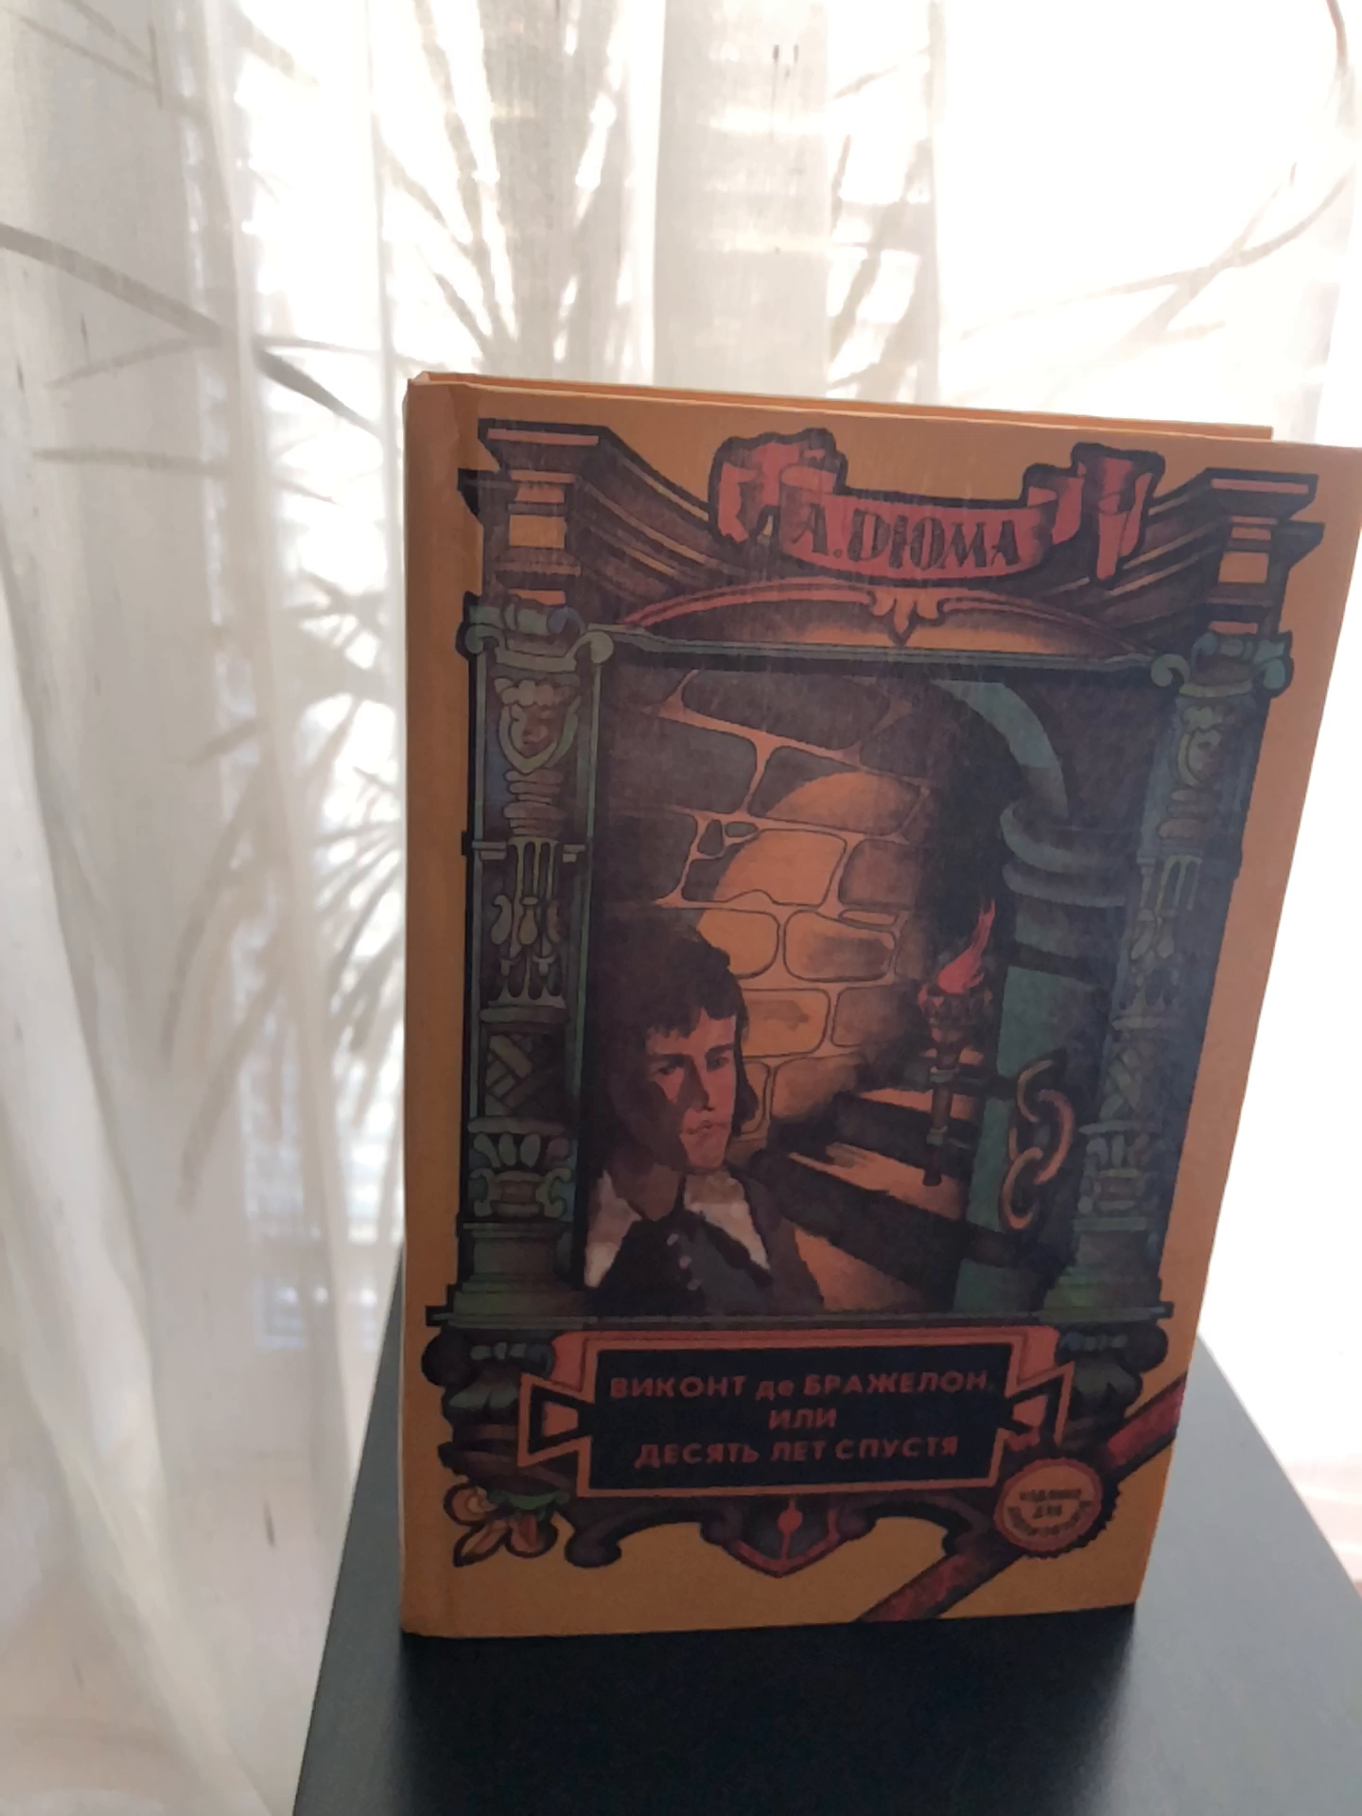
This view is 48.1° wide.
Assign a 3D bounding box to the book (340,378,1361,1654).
[{"bbox_3d":[0.023,0.022,0.245,0.141,0.198,0.040,0,18,-6],"label":"book"}]
